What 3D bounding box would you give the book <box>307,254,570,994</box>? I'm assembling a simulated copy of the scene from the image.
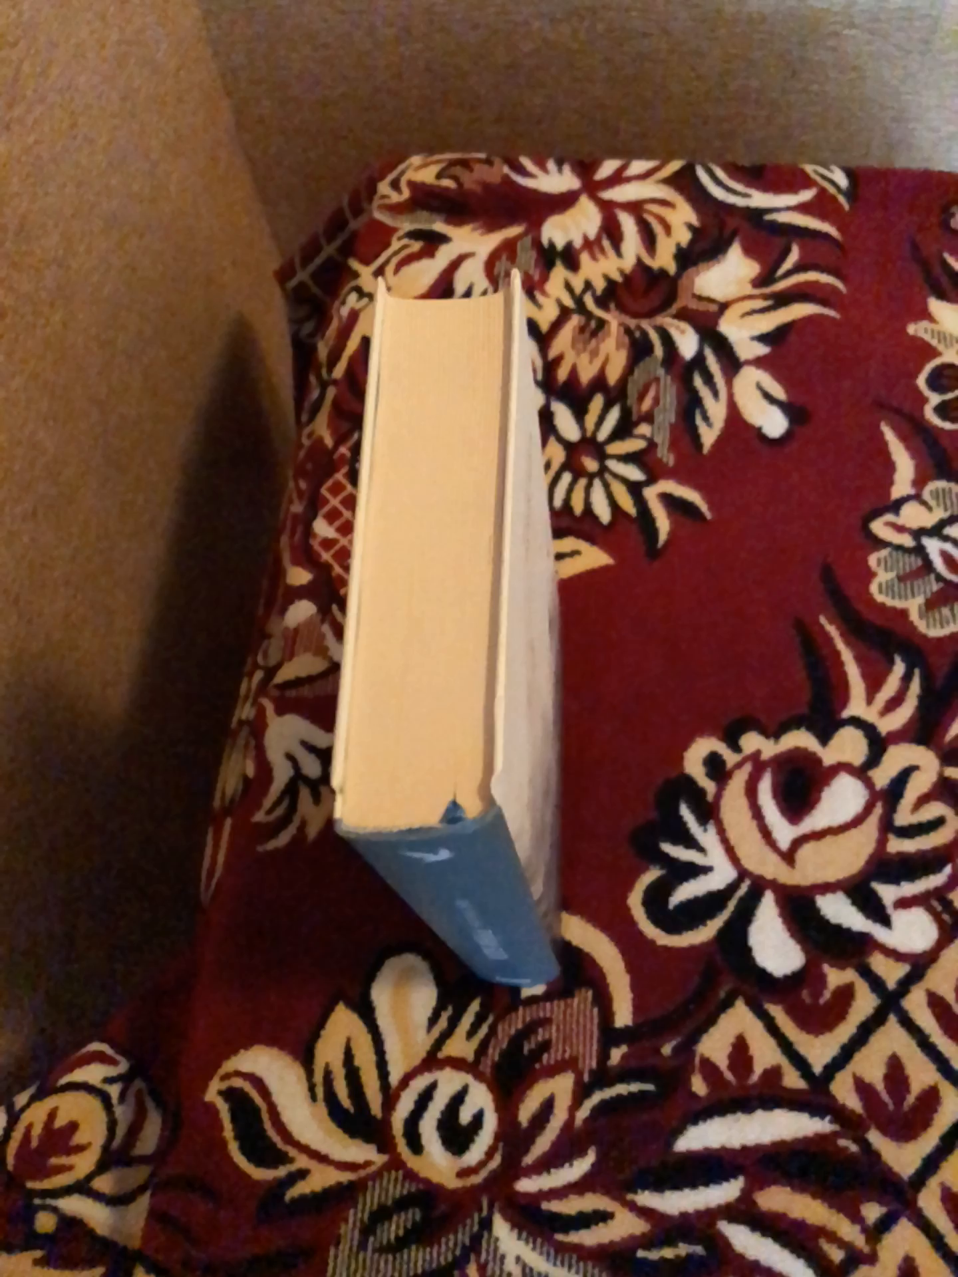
[{"bbox_3d":[0.003,0.017,0.330,0.040,0.210,0.151,-1,63,8],"label":"book"}]
